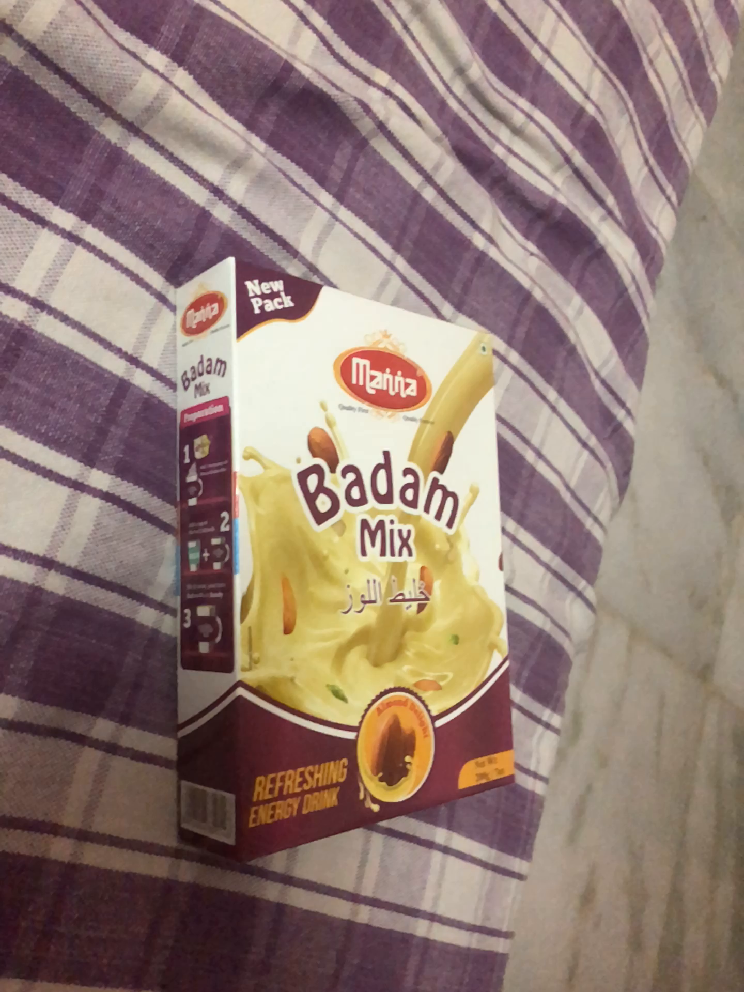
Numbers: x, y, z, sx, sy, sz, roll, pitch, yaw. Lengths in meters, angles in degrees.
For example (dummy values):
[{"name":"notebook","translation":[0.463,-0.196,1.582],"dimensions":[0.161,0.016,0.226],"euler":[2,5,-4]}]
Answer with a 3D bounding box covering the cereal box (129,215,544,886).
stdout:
[{"name":"cereal box","translation":[-0.008,0.015,0.284],"dimensions":[0.131,0.050,0.180],"euler":[1,82,-44]}]
